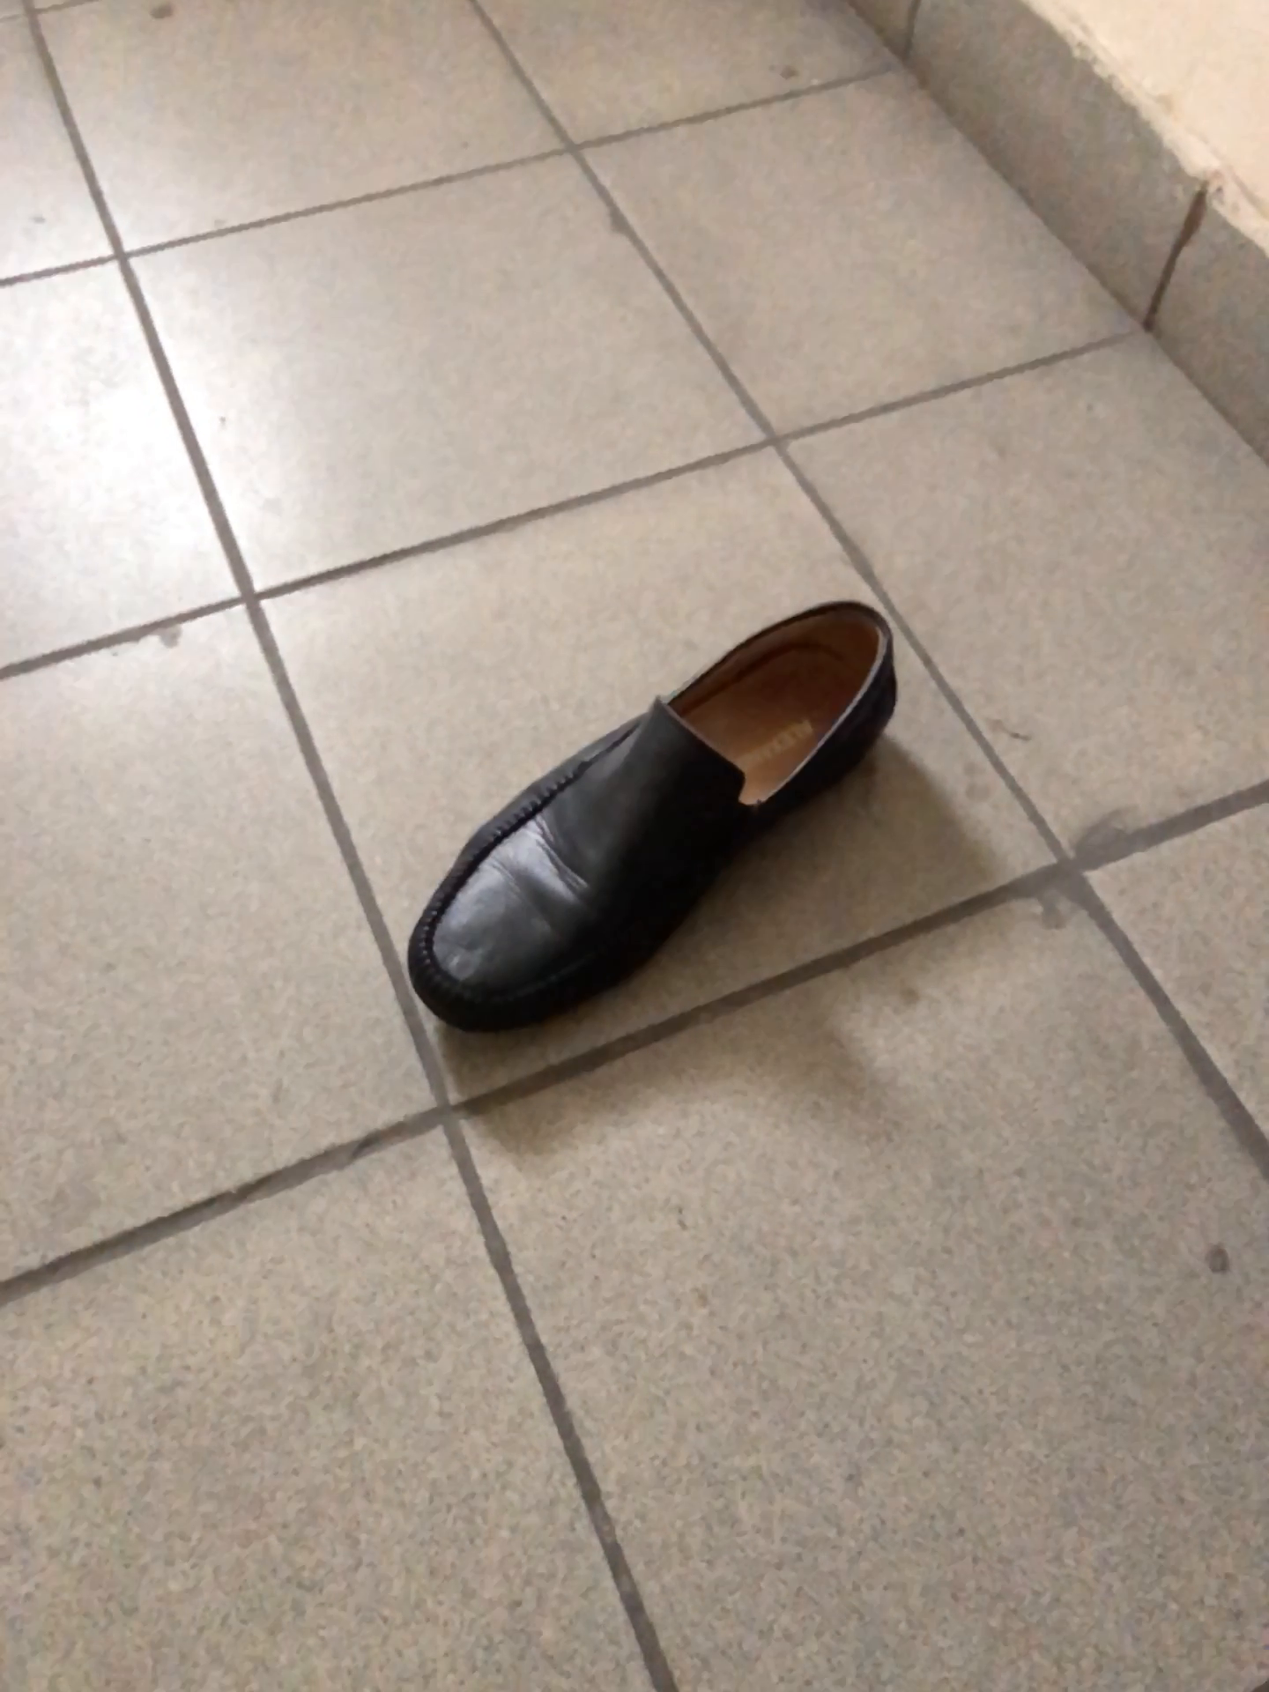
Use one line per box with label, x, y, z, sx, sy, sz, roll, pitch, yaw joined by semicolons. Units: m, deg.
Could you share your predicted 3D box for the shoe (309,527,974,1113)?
shoe;0.009;-0.019;0.614;0.271;0.080;0.107;-35;65;-20
